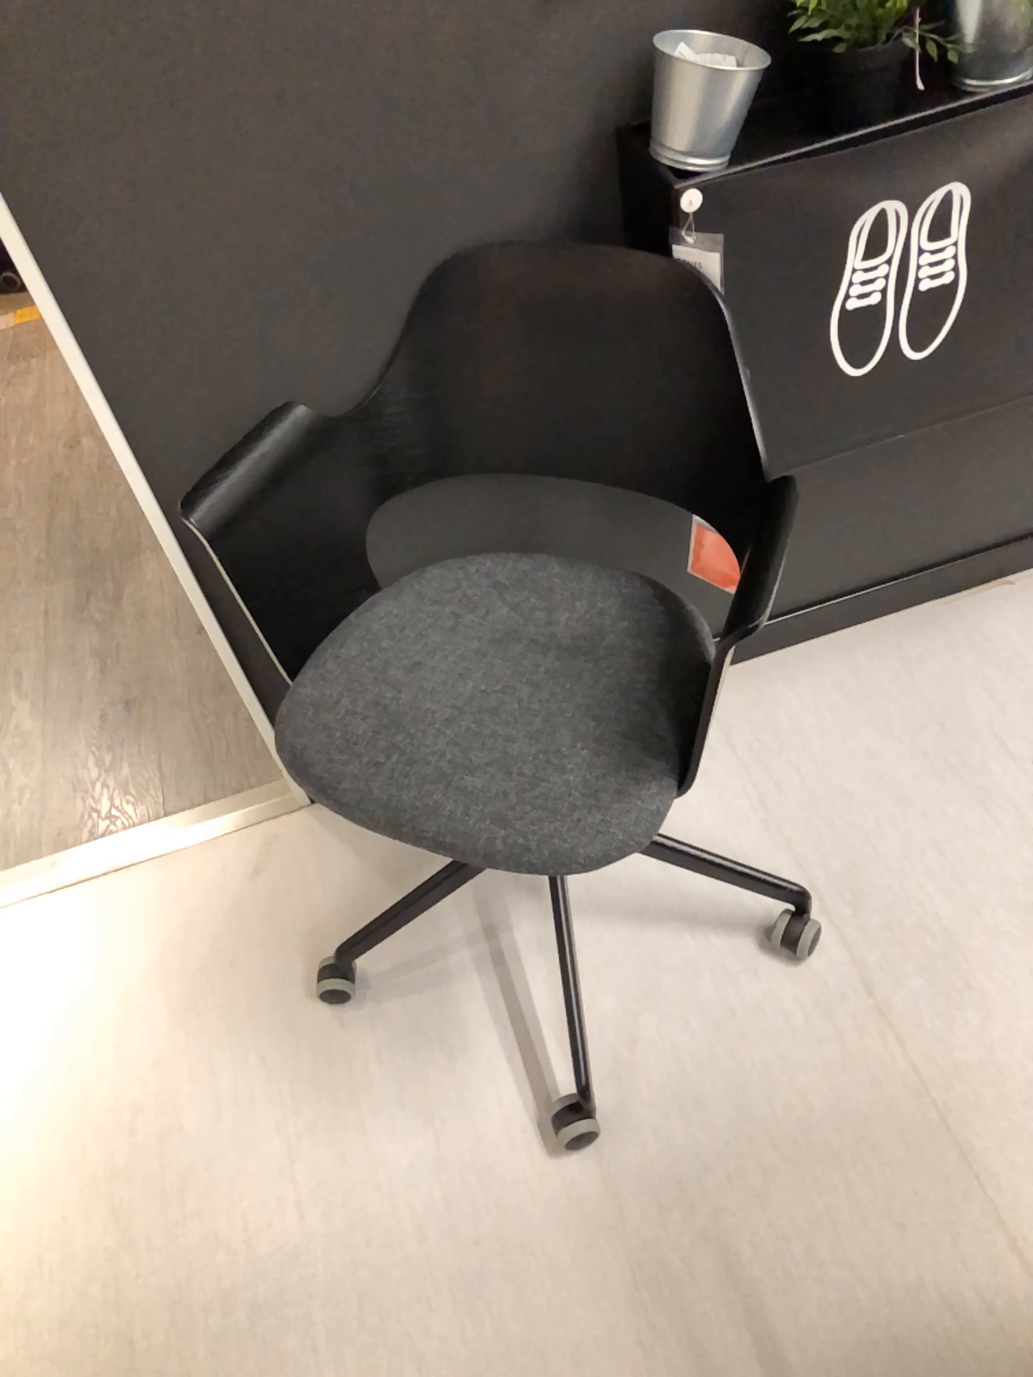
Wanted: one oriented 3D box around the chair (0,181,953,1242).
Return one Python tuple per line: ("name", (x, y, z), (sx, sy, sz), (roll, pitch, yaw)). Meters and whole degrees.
("chair", (-0.025, 0.017, 1.157), (0.662, 0.755, 0.562), (20, 56, 27))
